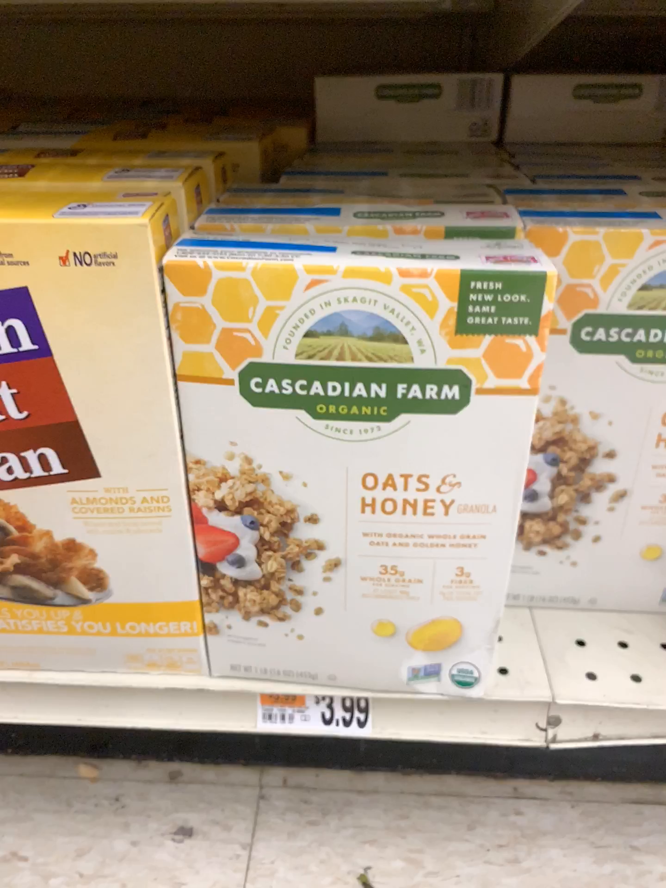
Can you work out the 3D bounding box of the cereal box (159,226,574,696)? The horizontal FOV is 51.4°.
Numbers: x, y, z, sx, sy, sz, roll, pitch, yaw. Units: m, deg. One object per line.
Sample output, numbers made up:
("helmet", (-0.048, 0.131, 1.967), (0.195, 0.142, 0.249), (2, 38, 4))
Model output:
("cereal box", (0.014, 0.016, 0.348), (0.160, 0.229, 0.060), (3, 29, 5))
